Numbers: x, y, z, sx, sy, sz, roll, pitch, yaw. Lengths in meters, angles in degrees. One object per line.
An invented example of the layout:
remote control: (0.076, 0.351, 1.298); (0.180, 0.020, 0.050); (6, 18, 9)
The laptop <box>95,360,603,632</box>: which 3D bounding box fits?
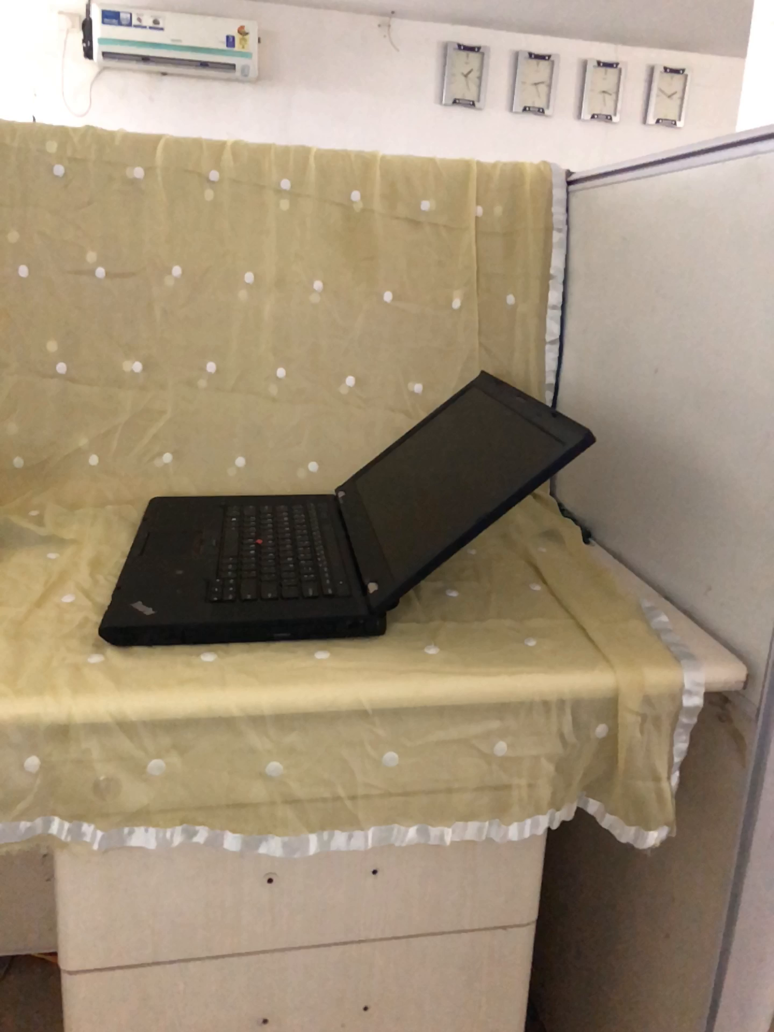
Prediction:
laptop: (-0.053, -0.048, 0.887); (0.424, 0.156, 0.349); (-4, 18, -8)
